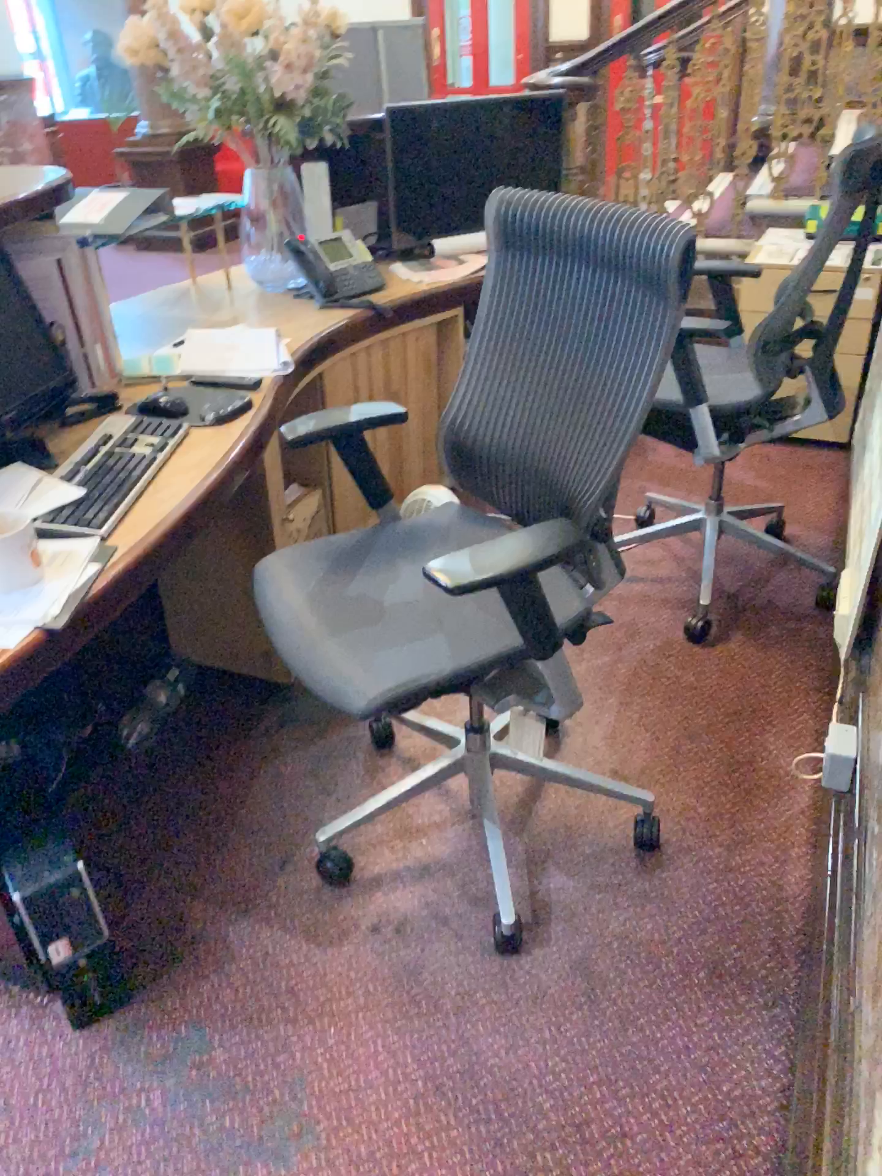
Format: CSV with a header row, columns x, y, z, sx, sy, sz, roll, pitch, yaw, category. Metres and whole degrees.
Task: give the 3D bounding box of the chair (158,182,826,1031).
x,y,z,sx,sy,sz,roll,pitch,yaw,category
0.045,-0.024,1.568,0.691,1.129,0.726,-17,33,-21,chair
